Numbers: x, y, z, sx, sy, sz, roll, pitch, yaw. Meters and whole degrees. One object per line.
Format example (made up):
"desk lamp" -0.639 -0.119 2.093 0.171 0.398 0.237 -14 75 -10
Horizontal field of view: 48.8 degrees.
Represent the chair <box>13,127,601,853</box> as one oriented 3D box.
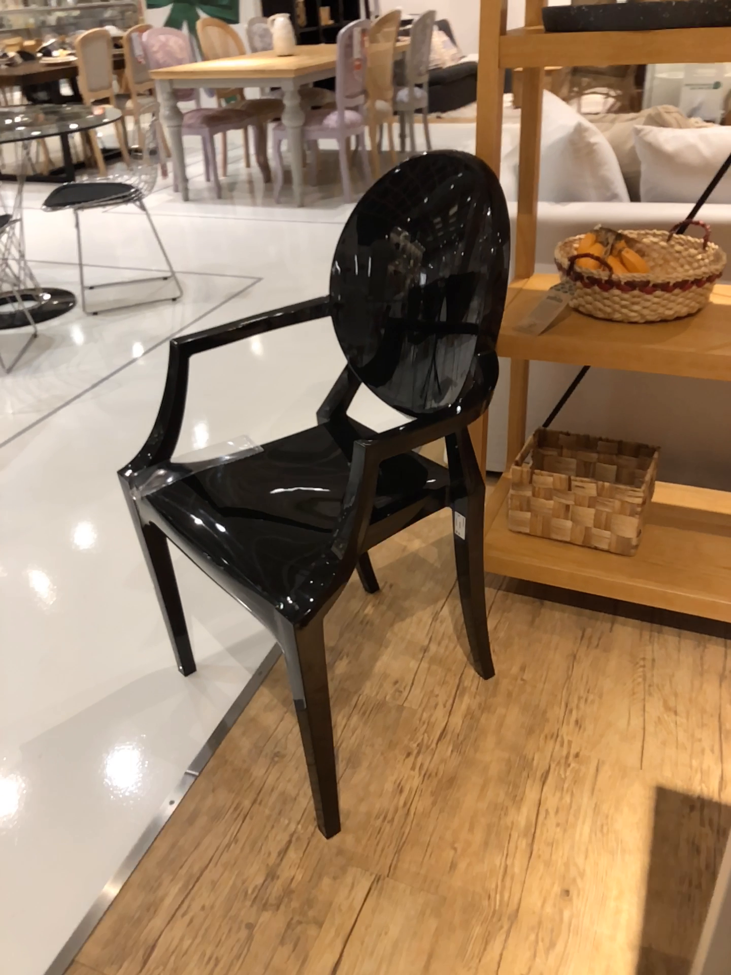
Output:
"chair" -0.055 -0.045 1.326 0.592 0.903 0.542 -29 39 -35
